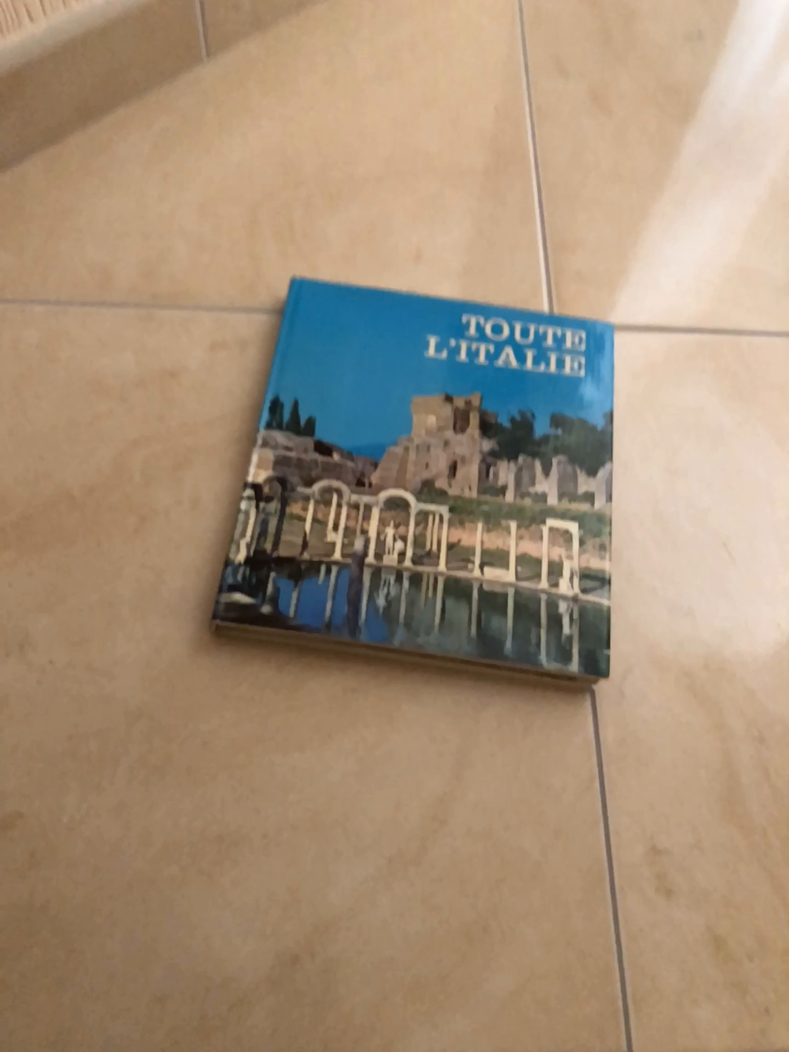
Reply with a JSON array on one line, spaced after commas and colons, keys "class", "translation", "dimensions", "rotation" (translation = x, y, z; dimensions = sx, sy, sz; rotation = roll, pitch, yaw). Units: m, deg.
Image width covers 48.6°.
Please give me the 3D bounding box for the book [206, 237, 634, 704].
[{"class": "book", "translation": [0.031, -0.048, 0.574], "dimensions": [0.240, 0.050, 0.291], "rotation": [8, 63, 0]}]
